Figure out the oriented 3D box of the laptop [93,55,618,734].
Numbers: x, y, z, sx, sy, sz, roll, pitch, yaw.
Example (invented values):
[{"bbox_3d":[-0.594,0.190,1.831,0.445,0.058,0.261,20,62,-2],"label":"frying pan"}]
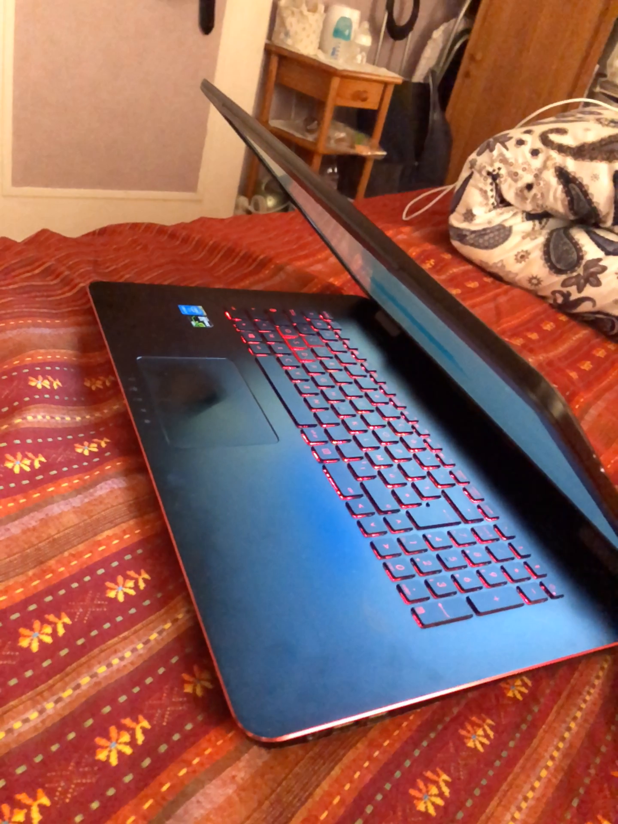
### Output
[{"bbox_3d":[0.038,-0.062,0.434,0.268,0.168,0.400,-2,37,-27],"label":"laptop"}]
